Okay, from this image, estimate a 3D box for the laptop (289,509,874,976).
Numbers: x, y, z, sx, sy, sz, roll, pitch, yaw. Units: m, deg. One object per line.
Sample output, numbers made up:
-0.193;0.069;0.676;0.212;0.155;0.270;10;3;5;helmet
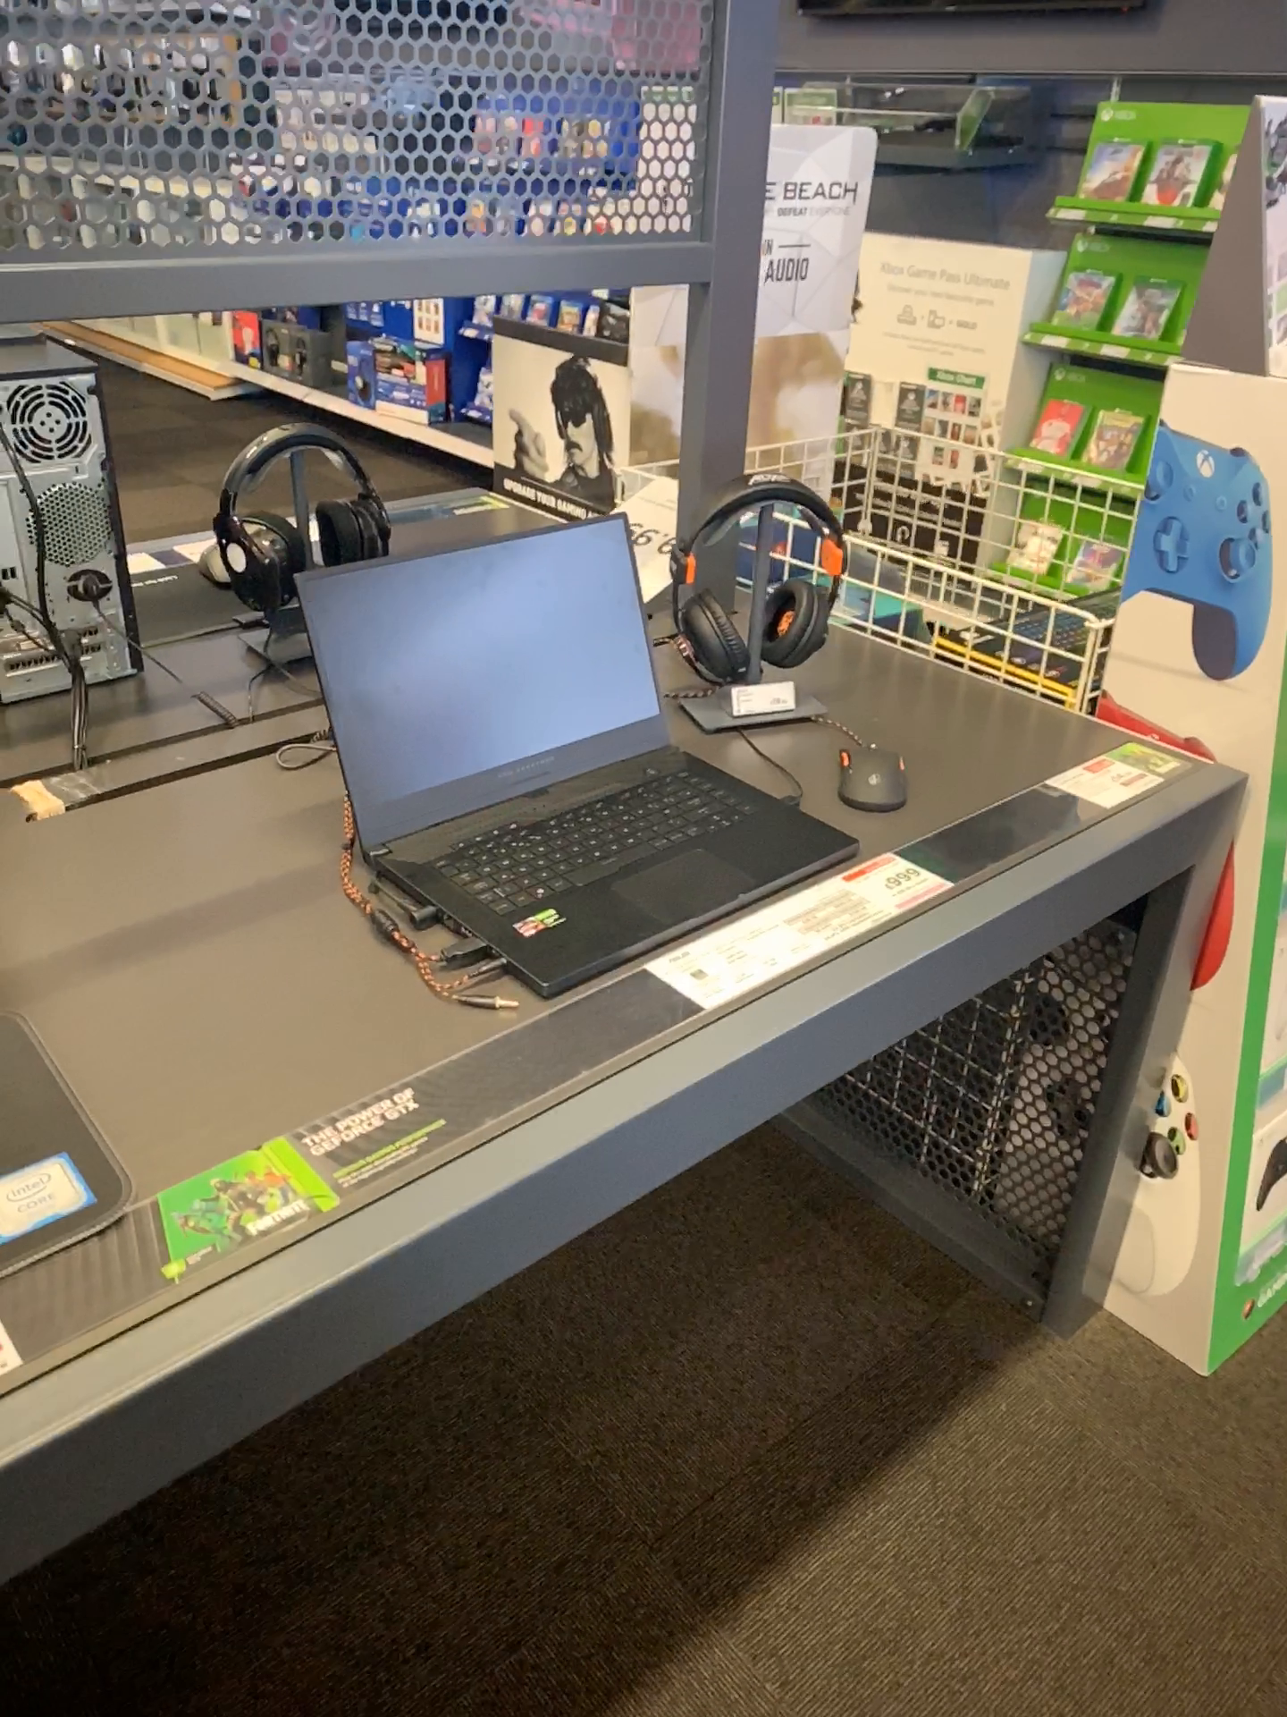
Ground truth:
-0.053;-0.125;1.104;0.349;0.203;0.325;-22;39;-38;laptop
